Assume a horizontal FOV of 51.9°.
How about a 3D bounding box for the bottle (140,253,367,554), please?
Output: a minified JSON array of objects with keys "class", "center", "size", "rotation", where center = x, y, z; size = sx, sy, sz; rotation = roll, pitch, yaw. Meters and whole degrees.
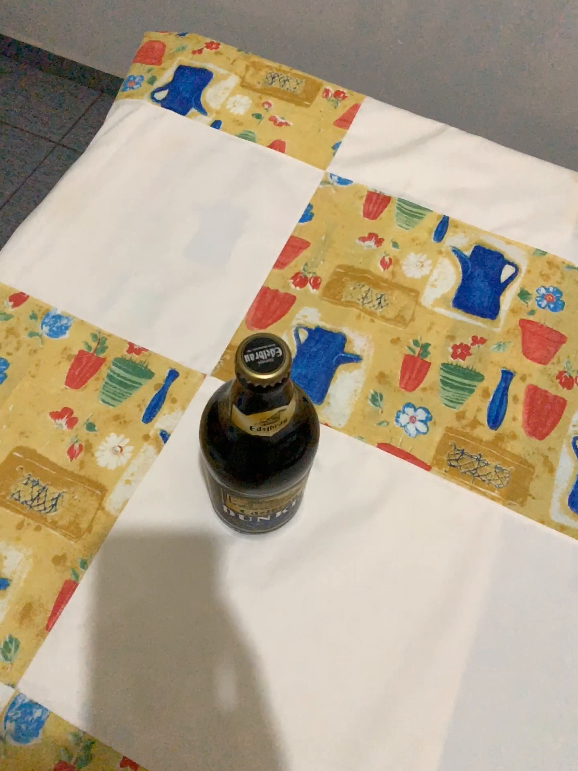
[{"class":"bottle","center":[-0.023,0.030,0.358],"size":[0.080,0.220,0.080],"rotation":[1,64,-3]}]
